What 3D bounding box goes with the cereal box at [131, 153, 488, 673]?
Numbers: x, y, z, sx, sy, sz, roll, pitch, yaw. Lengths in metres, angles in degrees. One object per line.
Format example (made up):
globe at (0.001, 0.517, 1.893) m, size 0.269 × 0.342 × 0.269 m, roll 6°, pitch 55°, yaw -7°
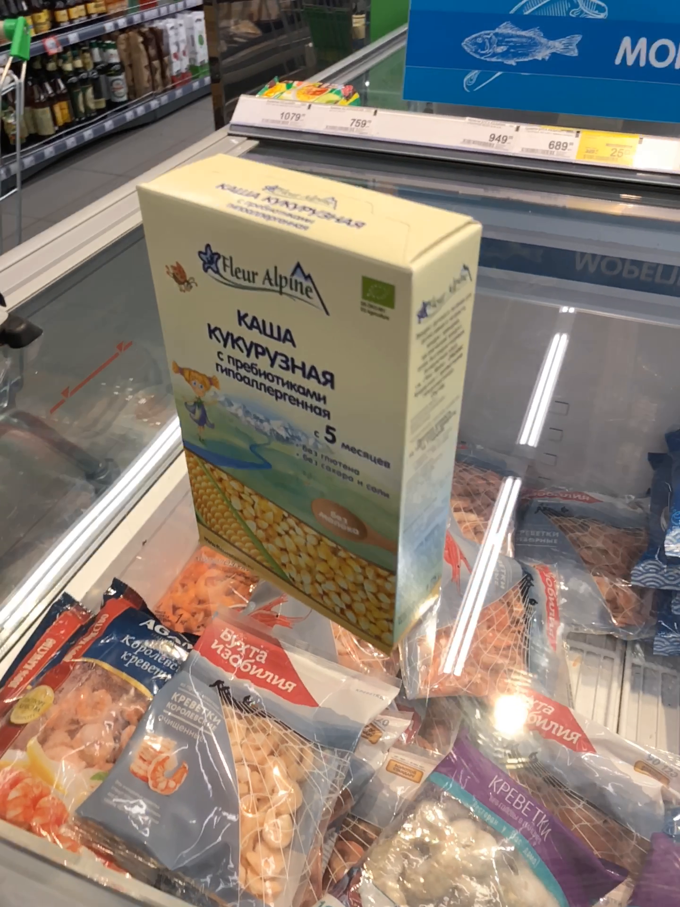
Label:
cereal box at (-0.015, -0.012, 0.343) m, size 0.130 × 0.209 × 0.050 m, roll 24°, pitch 44°, yaw 28°
